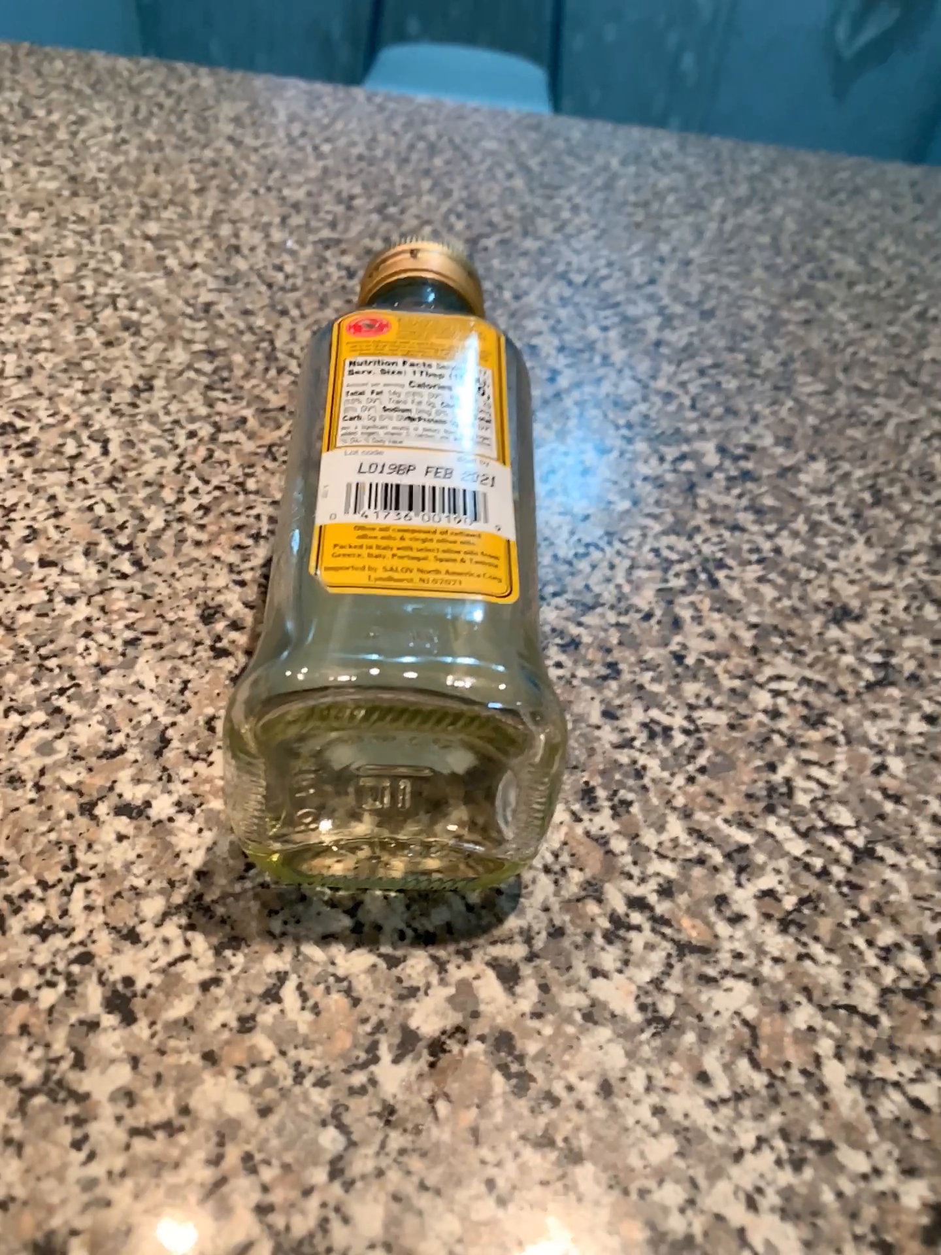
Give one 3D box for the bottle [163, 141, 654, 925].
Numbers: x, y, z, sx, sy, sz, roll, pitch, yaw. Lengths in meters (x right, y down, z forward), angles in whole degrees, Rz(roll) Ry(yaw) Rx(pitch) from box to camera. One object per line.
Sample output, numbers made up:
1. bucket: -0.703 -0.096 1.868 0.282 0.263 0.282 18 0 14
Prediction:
1. bottle: -0.012 -0.037 0.206 0.060 0.060 0.181 4 44 -5
